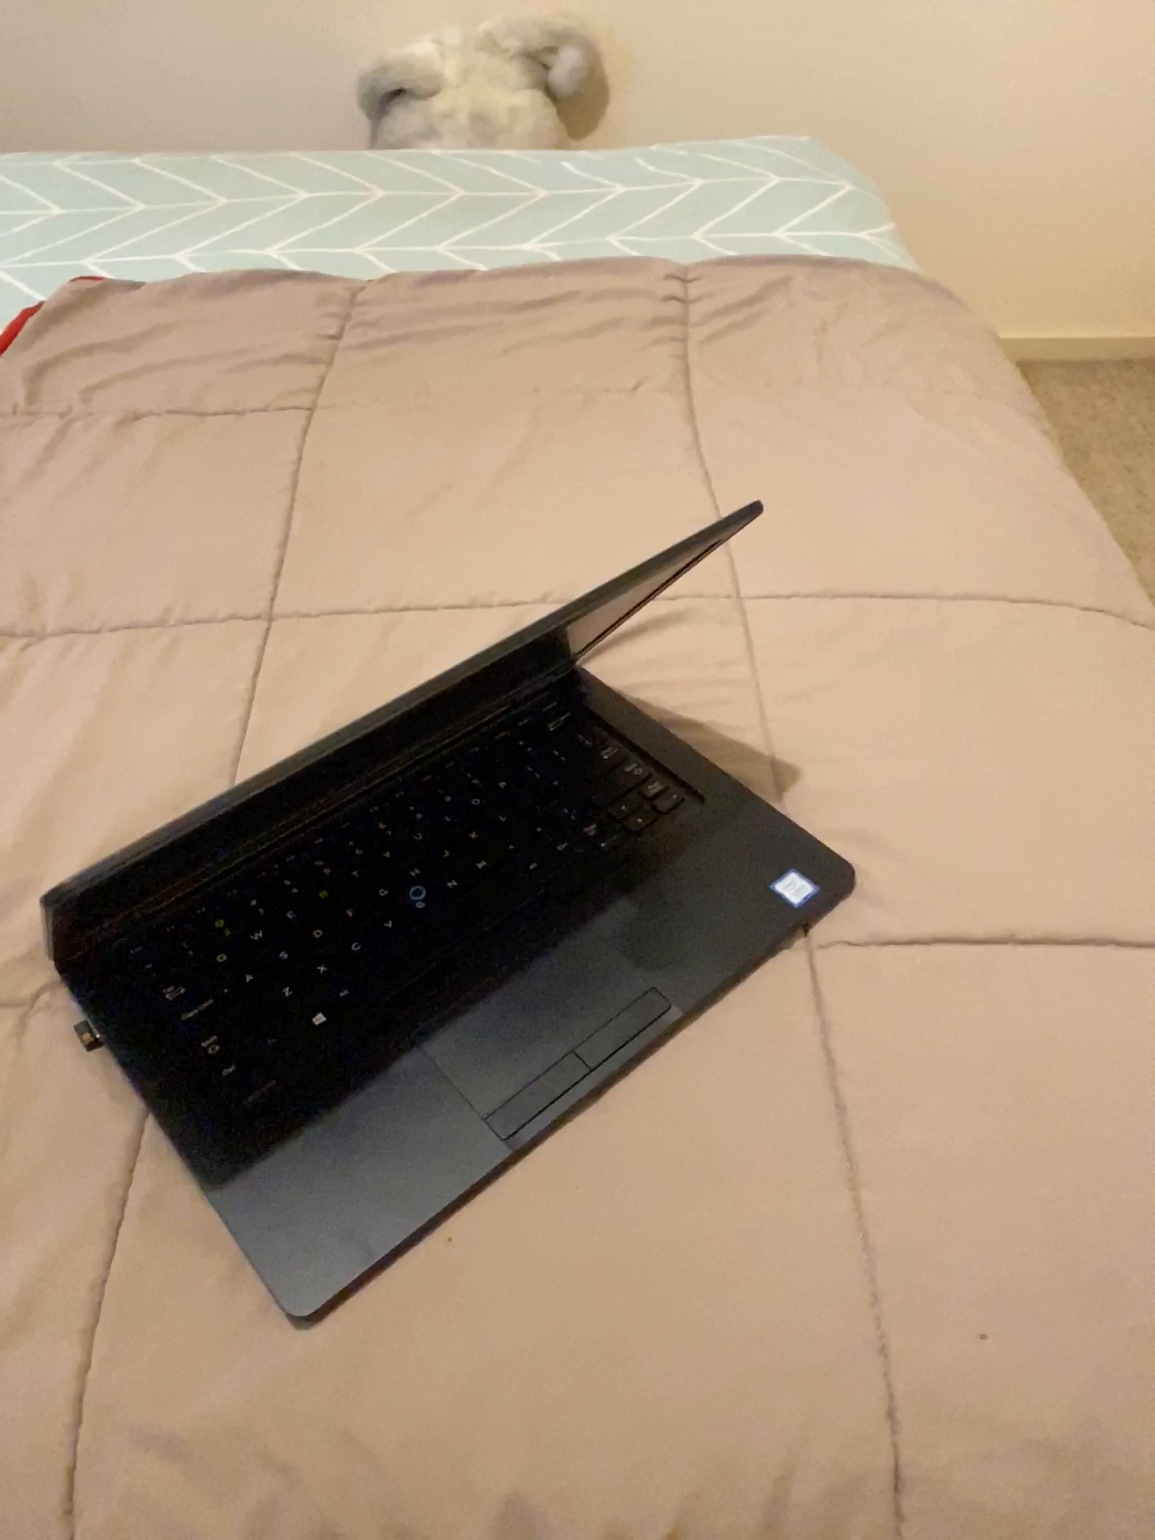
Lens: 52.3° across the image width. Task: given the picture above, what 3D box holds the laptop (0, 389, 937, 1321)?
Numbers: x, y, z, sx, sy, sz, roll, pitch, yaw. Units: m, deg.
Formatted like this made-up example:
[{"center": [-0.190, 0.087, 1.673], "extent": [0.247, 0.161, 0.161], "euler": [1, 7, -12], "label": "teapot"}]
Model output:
[{"center": [-0.055, 0.010, 0.529], "extent": [0.335, 0.183, 0.227], "euler": [-32, 53, -27], "label": "laptop"}]
